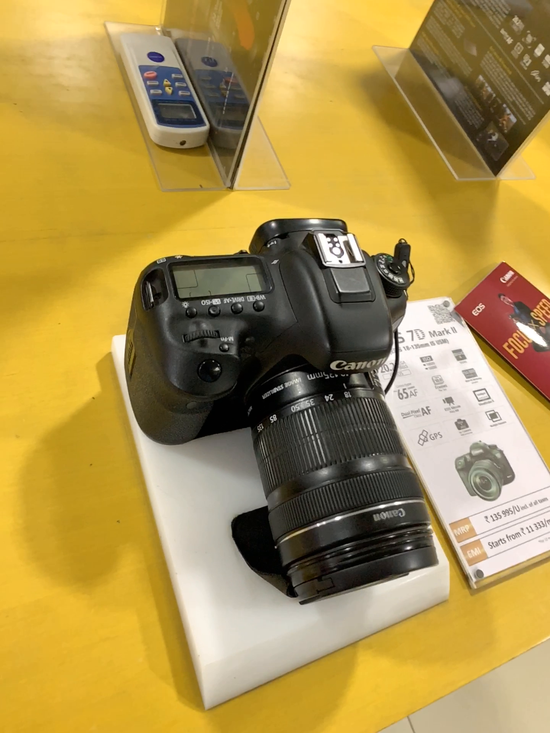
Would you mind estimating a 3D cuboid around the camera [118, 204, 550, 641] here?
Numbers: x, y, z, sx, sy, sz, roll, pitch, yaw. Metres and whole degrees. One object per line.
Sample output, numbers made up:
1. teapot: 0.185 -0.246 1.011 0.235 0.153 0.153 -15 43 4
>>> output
1. camera: 0.011 0.025 0.279 0.140 0.120 0.160 -6 63 -23
